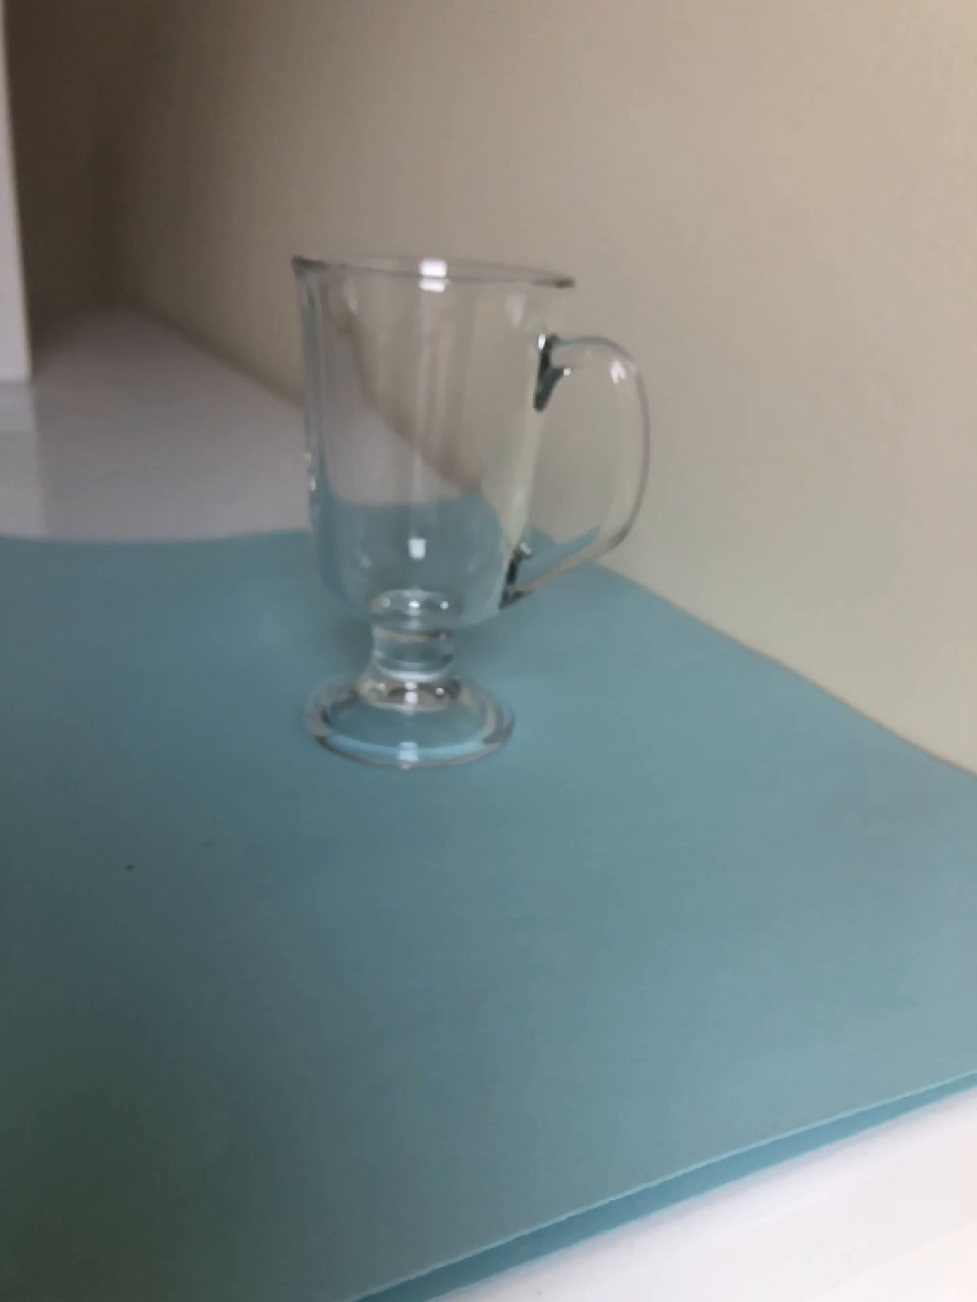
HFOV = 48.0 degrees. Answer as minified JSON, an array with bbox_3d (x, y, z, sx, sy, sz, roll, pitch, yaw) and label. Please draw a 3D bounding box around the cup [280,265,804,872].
[{"bbox_3d":[0.011,-0.028,0.272,0.100,0.119,0.070,13,23,23],"label":"cup"}]
